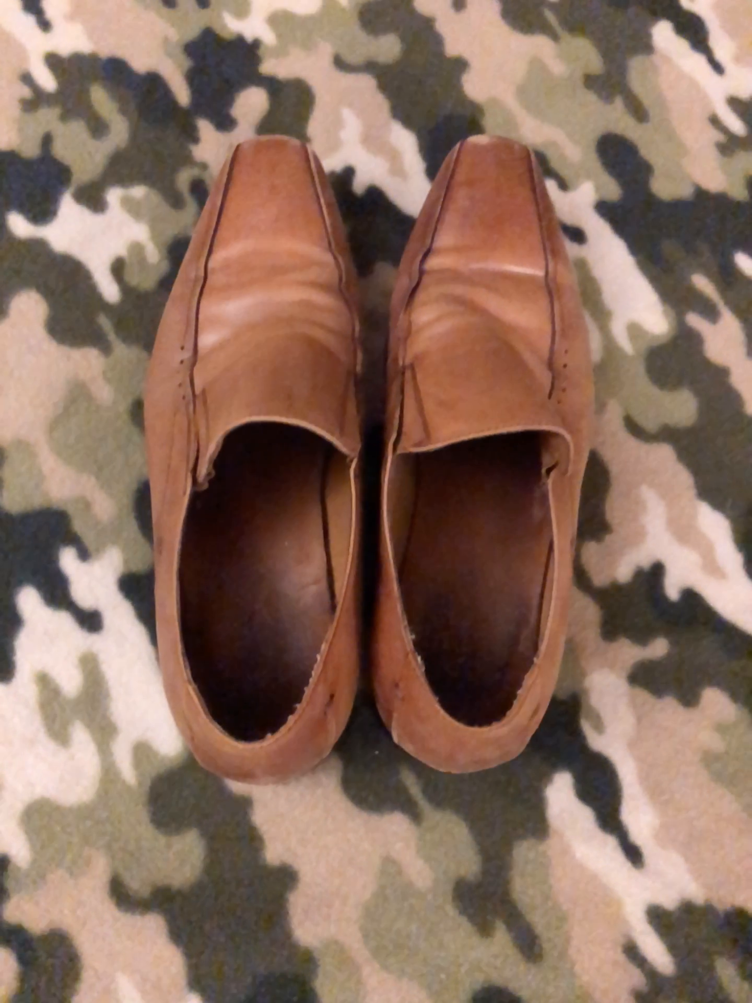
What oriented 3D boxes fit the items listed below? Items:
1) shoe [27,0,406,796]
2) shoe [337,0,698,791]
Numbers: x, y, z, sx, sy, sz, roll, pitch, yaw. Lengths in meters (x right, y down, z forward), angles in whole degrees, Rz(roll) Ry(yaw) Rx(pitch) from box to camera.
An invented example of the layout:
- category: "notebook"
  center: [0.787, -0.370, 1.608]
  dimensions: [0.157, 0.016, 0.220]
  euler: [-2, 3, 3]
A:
- category: "shoe"
  center: [-0.052, -0.050, 0.349]
  dimensions: [0.110, 0.120, 0.321]
  euler: [0, 72, -3]
- category: "shoe"
  center: [0.054, -0.051, 0.359]
  dimensions: [0.110, 0.120, 0.321]
  euler: [5, 72, -1]
